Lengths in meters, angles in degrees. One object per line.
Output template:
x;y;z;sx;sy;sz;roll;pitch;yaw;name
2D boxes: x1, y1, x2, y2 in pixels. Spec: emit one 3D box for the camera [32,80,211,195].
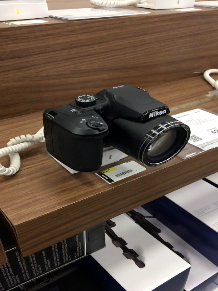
0.011;-0.017;0.307;0.128;0.064;0.103;-21;39;-29;camera
